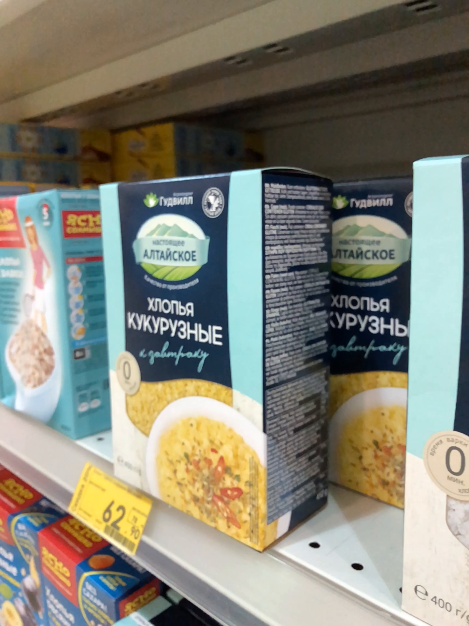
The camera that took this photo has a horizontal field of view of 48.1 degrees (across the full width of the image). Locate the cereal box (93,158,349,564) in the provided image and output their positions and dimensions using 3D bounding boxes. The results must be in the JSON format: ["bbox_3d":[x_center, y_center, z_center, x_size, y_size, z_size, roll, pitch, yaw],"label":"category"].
[{"bbox_3d":[-0.012,0.017,0.308,0.140,0.190,0.060,7,11,41],"label":"cereal box"}]
